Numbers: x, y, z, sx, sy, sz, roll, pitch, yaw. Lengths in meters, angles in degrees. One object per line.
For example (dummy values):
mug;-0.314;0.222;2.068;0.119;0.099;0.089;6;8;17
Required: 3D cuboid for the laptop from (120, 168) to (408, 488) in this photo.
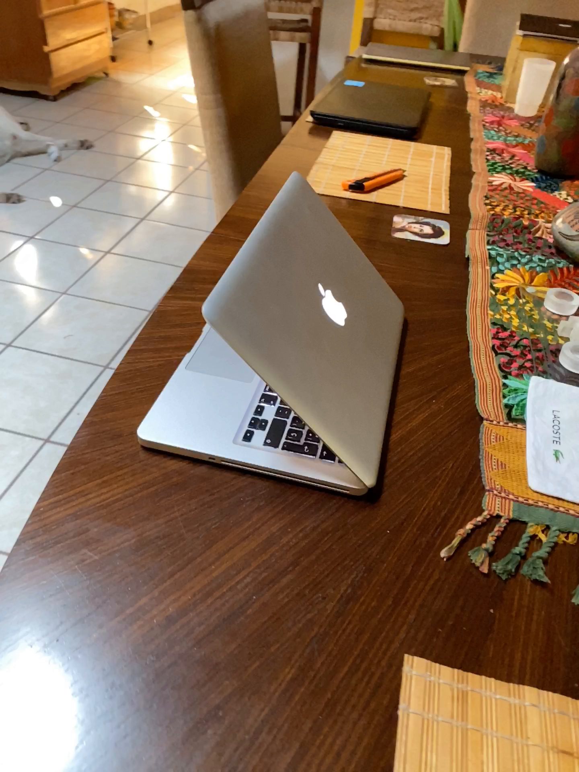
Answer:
laptop;-0.005;-0.086;0.632;0.212;0.152;0.323;11;40;7
